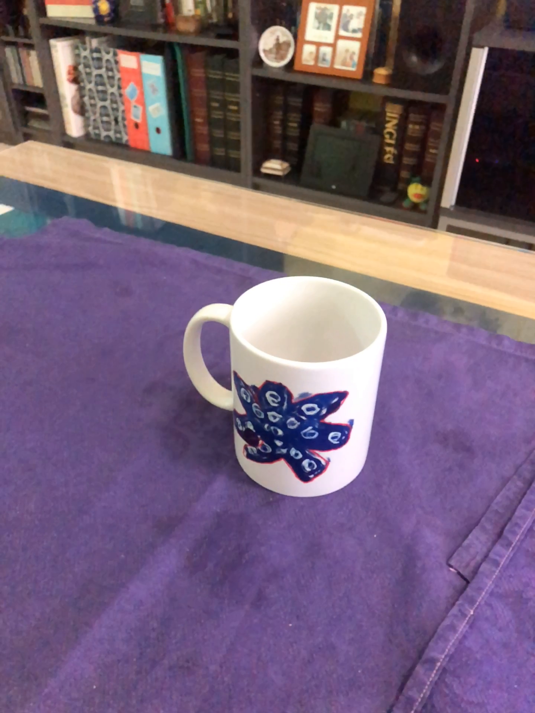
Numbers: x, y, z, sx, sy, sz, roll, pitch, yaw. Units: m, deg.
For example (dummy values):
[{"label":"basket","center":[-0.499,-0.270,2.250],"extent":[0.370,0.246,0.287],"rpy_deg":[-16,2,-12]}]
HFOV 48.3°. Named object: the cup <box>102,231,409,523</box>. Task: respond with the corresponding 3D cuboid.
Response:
[{"label":"cup","center":[-0.007,0.005,0.324],"extent":[0.130,0.090,0.080],"rpy_deg":[23,43,26]}]
